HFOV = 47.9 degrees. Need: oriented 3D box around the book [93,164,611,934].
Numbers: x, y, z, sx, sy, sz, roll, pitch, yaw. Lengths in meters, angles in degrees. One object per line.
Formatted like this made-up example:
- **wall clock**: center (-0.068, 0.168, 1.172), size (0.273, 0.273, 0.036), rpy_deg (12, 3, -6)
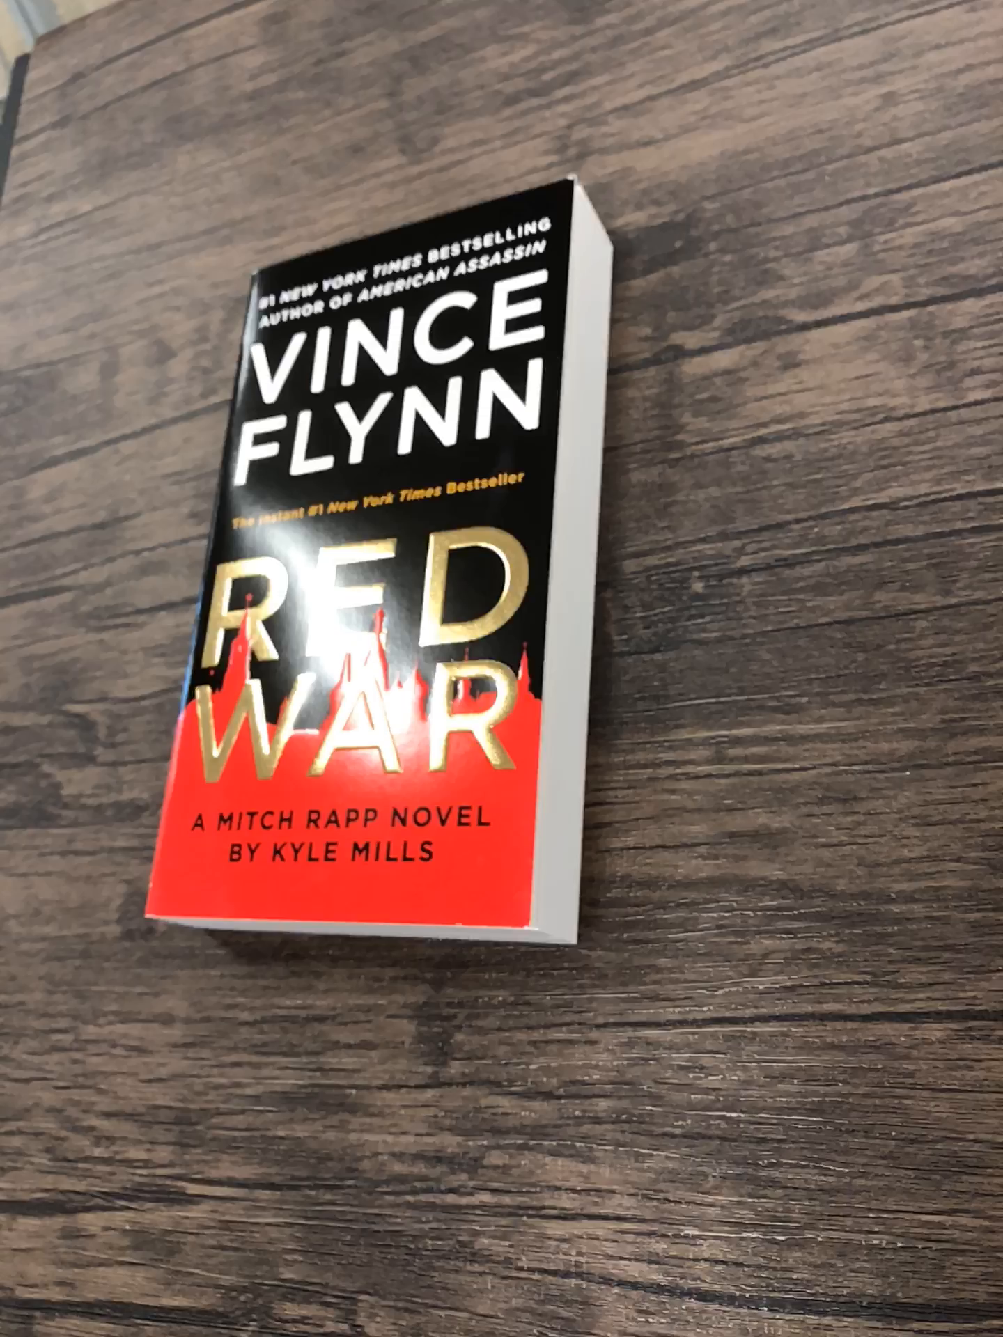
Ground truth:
- **book**: center (-0.033, -0.029, 0.284), size (0.110, 0.030, 0.183), rpy_deg (-5, 68, 25)
